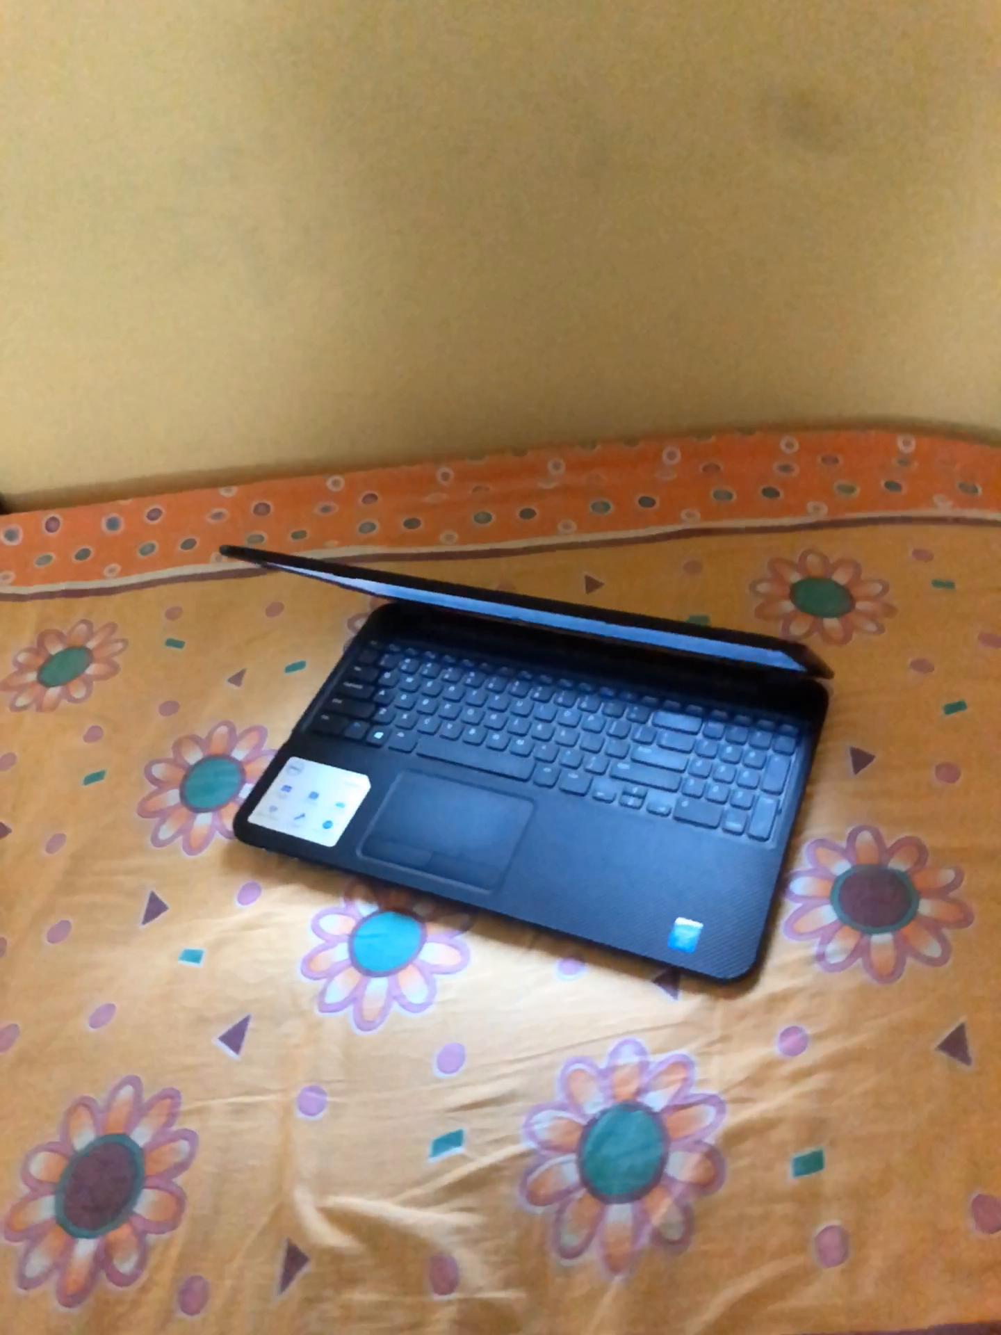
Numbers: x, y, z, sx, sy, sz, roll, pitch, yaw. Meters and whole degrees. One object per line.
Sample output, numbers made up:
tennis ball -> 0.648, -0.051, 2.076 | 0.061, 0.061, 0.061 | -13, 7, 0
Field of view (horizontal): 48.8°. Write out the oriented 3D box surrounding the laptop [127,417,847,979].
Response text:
laptop -> 0.007, 0.002, 0.718 | 0.366, 0.190, 0.239 | 11, 50, 21
